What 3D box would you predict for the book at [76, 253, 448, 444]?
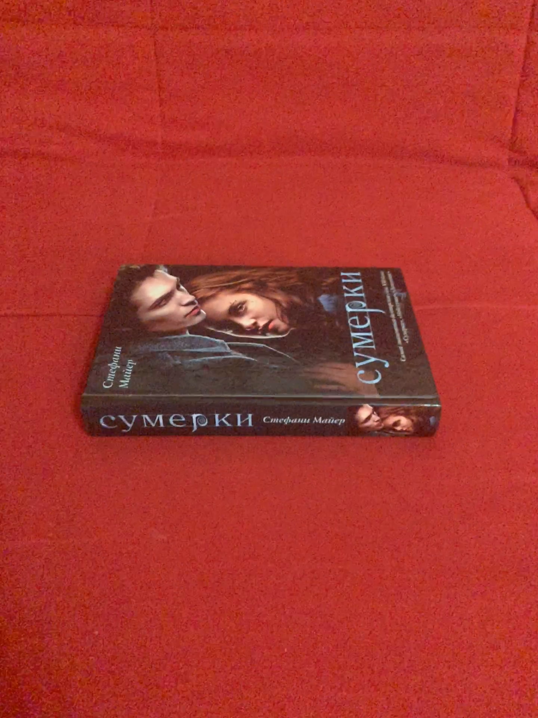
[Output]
[{"bbox_3d":[-0.004,-0.012,0.369,0.209,0.036,0.134,1,48,-1],"label":"book"}]
